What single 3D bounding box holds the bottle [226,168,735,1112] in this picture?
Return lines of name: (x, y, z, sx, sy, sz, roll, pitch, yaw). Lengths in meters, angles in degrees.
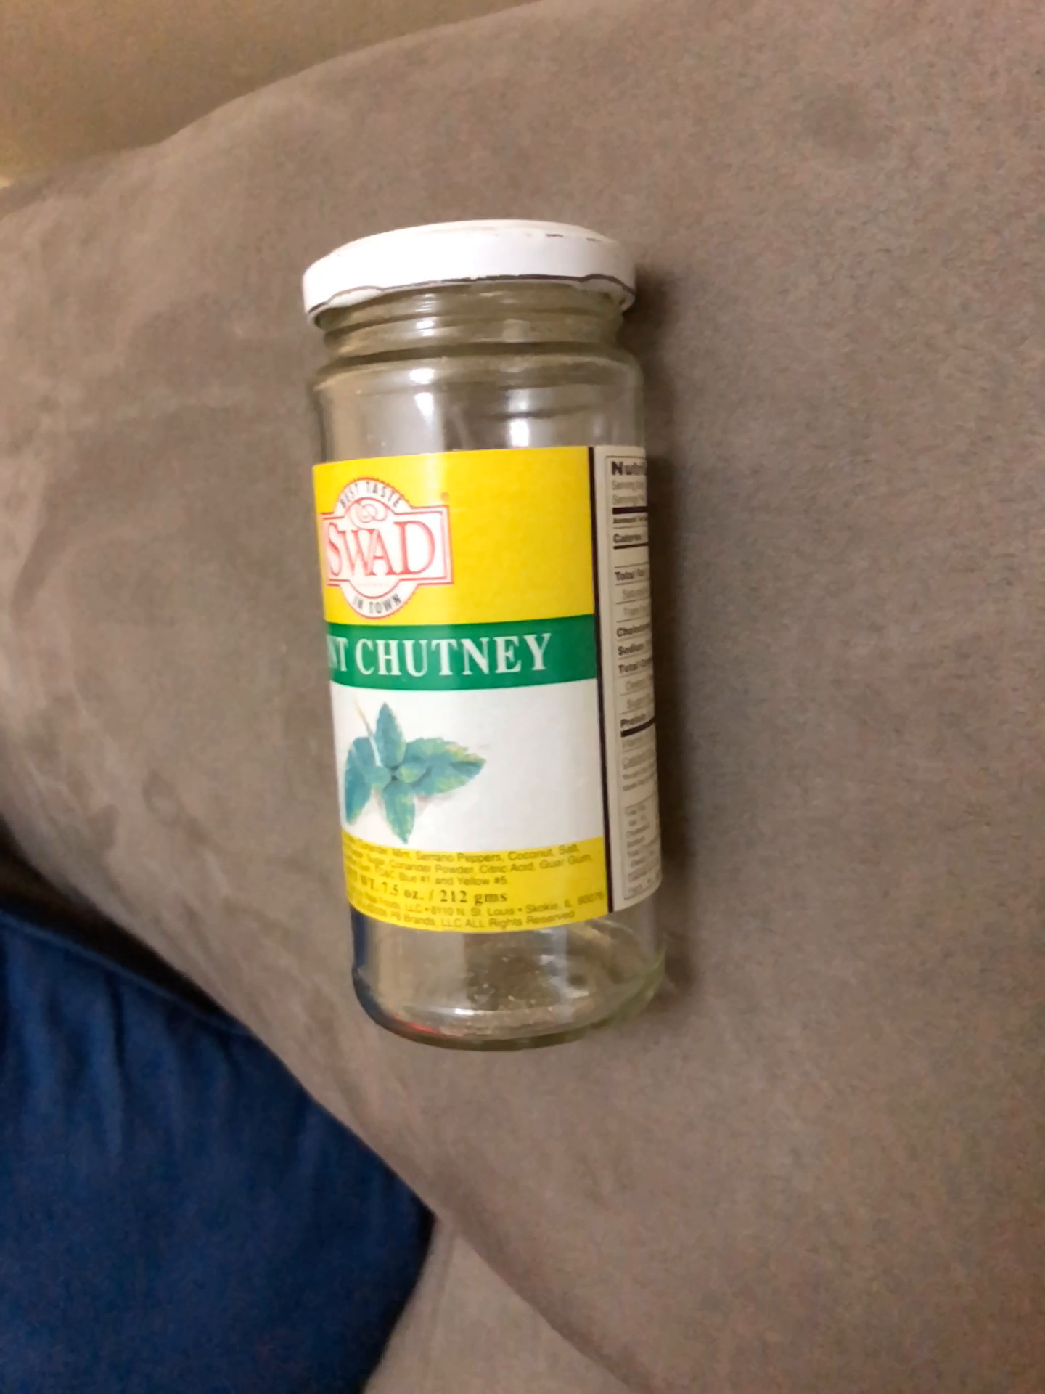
bottle: (-0.005, -0.010, 0.204, 0.057, 0.056, 0.133, 6, 103, 44)
